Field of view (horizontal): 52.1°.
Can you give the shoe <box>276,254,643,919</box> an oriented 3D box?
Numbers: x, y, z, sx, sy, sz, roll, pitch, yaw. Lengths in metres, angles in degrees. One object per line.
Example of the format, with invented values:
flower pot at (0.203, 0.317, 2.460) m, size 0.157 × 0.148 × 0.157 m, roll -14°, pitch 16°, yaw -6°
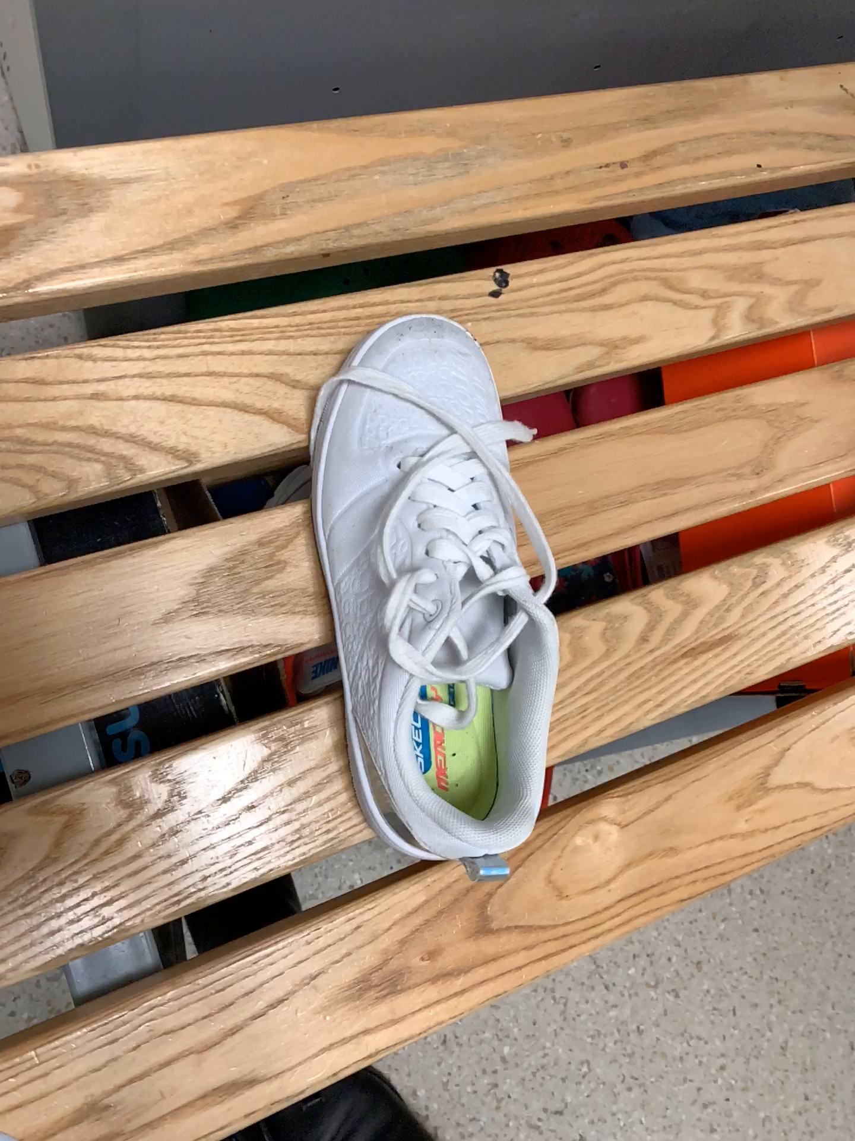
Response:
shoe at (0.007, 0.001, 0.377) m, size 0.100 × 0.076 × 0.250 m, roll -7°, pitch 84°, yaw -18°
